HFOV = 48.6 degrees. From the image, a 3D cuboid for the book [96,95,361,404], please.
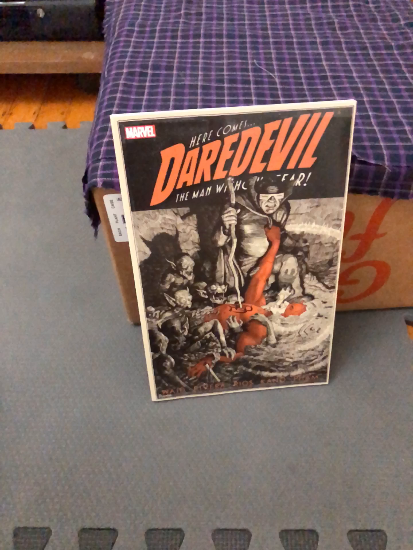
[{"bbox_3d":[0.020,-0.004,0.338,0.160,0.229,0.020,-5,29,-3],"label":"book"}]
